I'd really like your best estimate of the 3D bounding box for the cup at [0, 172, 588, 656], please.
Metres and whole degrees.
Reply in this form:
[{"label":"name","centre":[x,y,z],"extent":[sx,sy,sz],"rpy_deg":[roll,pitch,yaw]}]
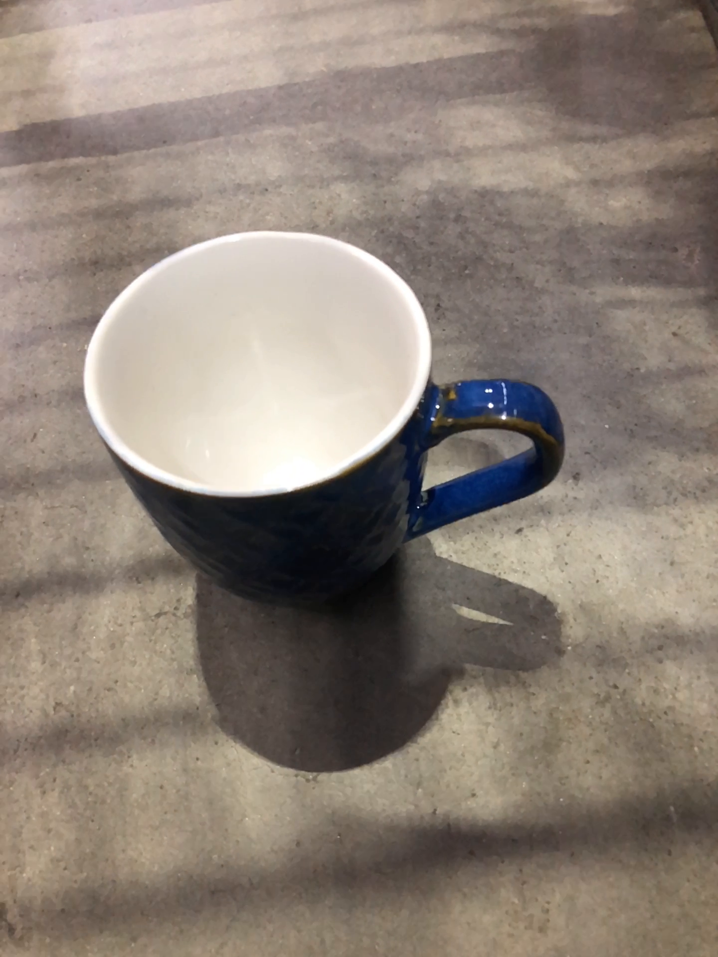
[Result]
[{"label":"cup","centre":[-0.009,-0.015,0.185],"extent":[0.110,0.070,0.080],"rpy_deg":[4,59,9]}]
